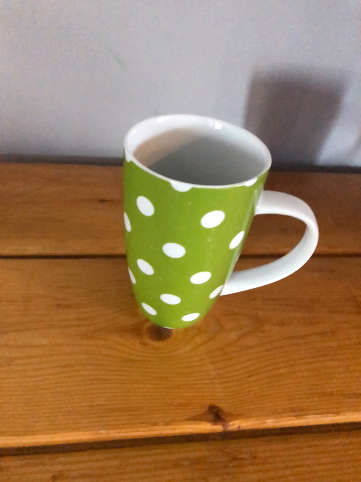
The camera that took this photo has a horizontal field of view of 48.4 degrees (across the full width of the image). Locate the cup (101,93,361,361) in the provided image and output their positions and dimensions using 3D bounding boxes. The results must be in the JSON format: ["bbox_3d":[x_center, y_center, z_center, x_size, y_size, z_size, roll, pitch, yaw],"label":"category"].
[{"bbox_3d":[0.028,-0.003,0.290,0.150,0.150,0.100,6,44,-3],"label":"cup"}]
